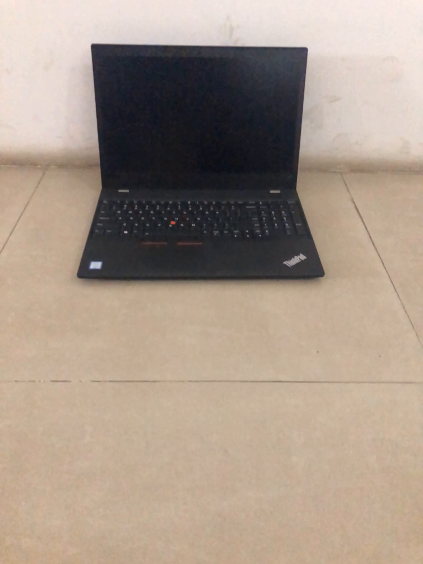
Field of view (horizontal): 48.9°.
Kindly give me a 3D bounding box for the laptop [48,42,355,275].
[{"bbox_3d":[-0.018,-0.203,0.722,0.351,0.214,0.329,0,42,-3],"label":"laptop"}]
